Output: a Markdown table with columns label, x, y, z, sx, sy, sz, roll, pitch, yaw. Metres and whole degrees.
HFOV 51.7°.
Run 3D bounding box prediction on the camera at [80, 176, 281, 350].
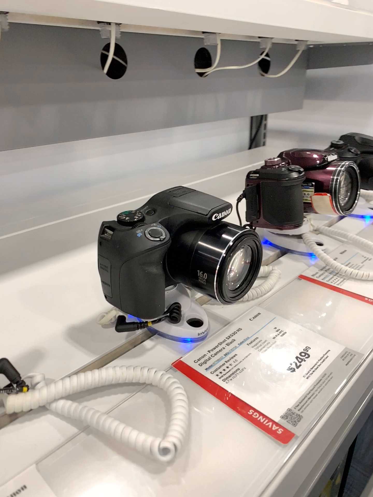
| label | x | y | z | sx | sy | sz | roll | pitch | yaw |
| --- | --- | --- | --- | --- | --- | --- | --- | --- | --- |
| camera | -0.002 | -0.001 | 0.314 | 0.100 | 0.080 | 0.120 | 21 | 33 | 40 |
